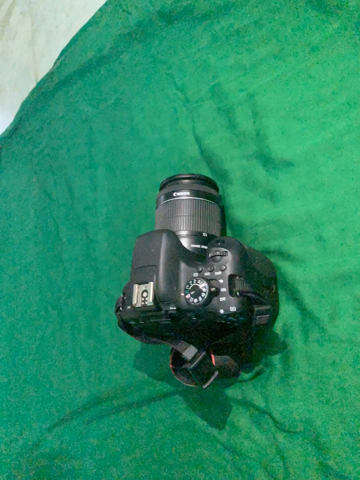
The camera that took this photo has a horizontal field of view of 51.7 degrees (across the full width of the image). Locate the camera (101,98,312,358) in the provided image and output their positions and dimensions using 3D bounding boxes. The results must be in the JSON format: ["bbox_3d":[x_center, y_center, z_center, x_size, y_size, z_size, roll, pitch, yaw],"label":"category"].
[{"bbox_3d":[0.014,0.005,0.355,0.153,0.099,0.190,-20,66,36],"label":"camera"}]
